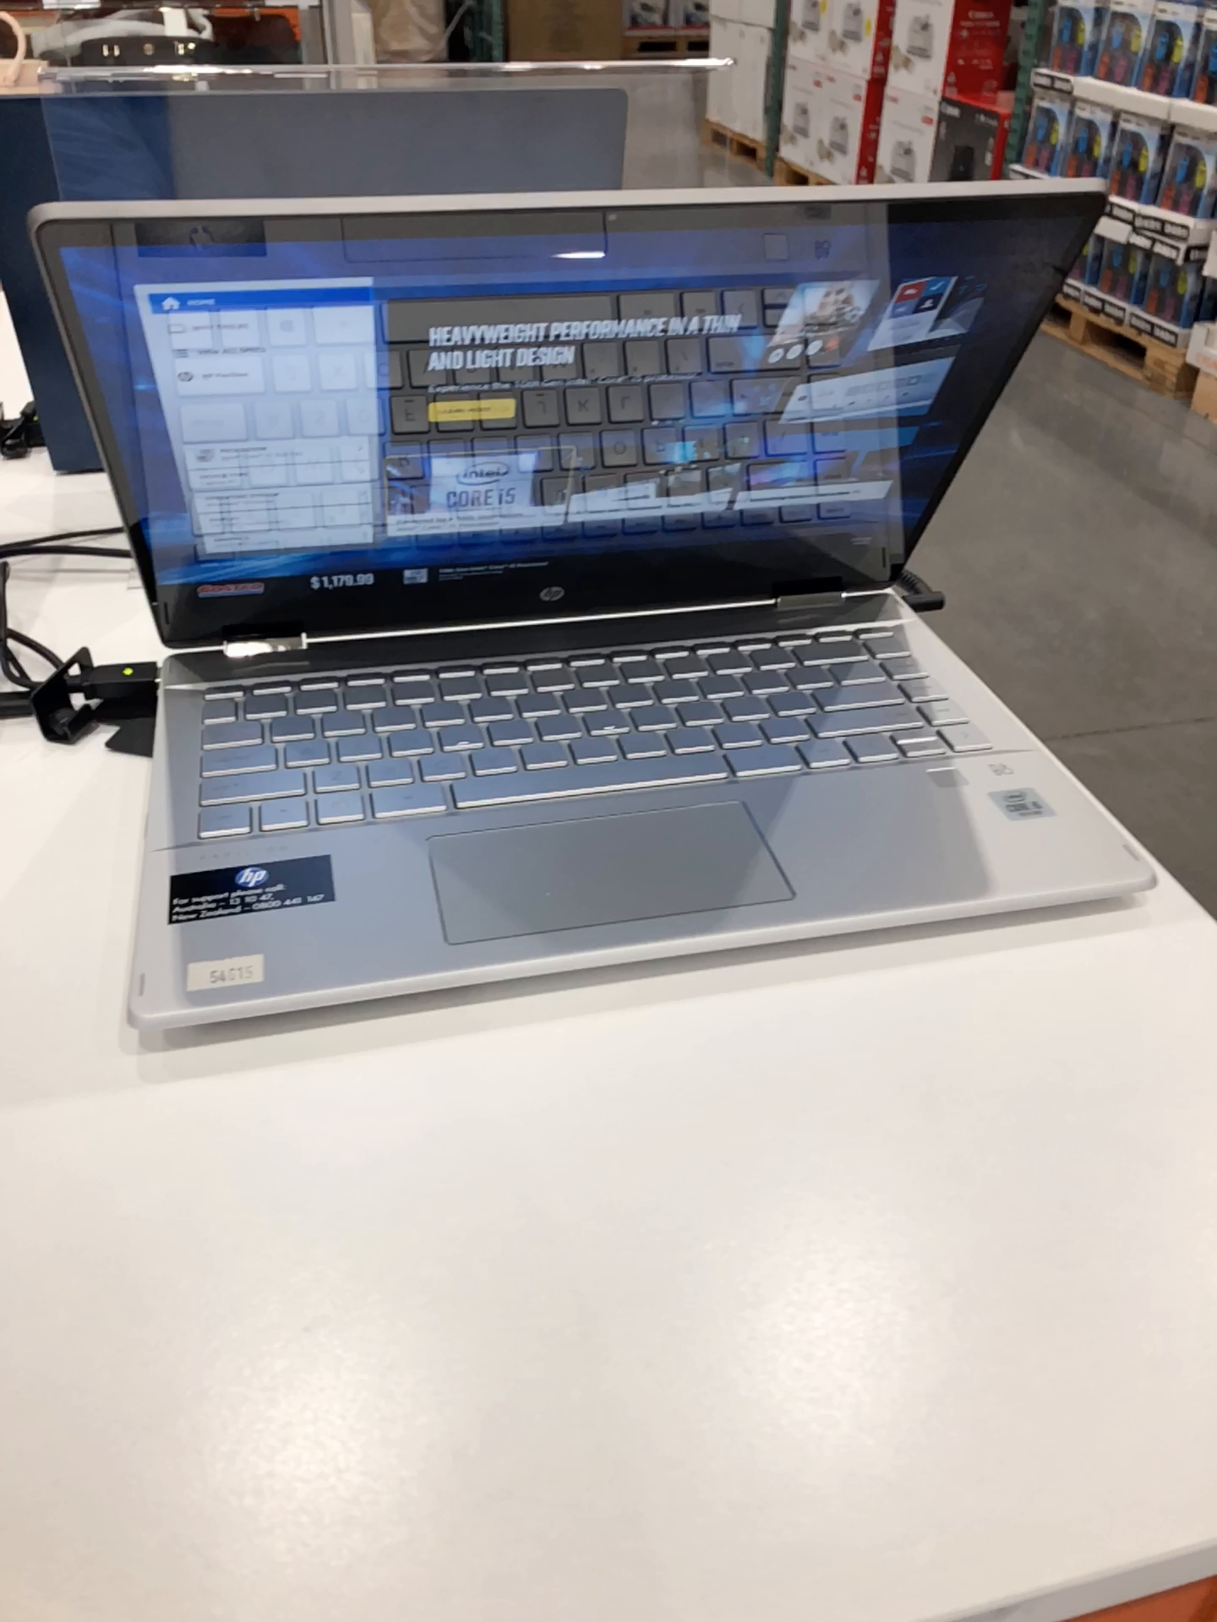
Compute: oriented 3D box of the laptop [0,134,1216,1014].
[{"bbox_3d":[-0.001,-0.096,0.435,0.317,0.185,0.207,-7,35,-10],"label":"laptop"}]
